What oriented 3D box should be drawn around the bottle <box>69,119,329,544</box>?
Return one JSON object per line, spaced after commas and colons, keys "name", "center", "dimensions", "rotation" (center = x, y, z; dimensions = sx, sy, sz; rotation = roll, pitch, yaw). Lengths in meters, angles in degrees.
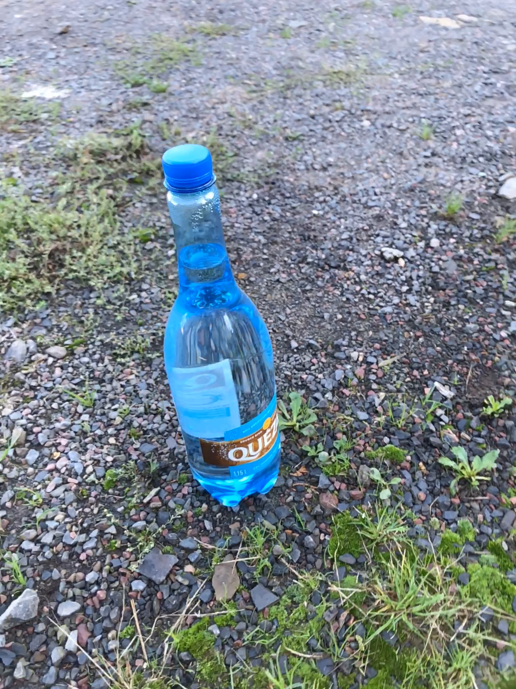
{"name": "bottle", "center": [-0.031, 0.005, 0.440], "dimensions": [0.110, 0.298, 0.111], "rotation": [-1, 42, 1]}
